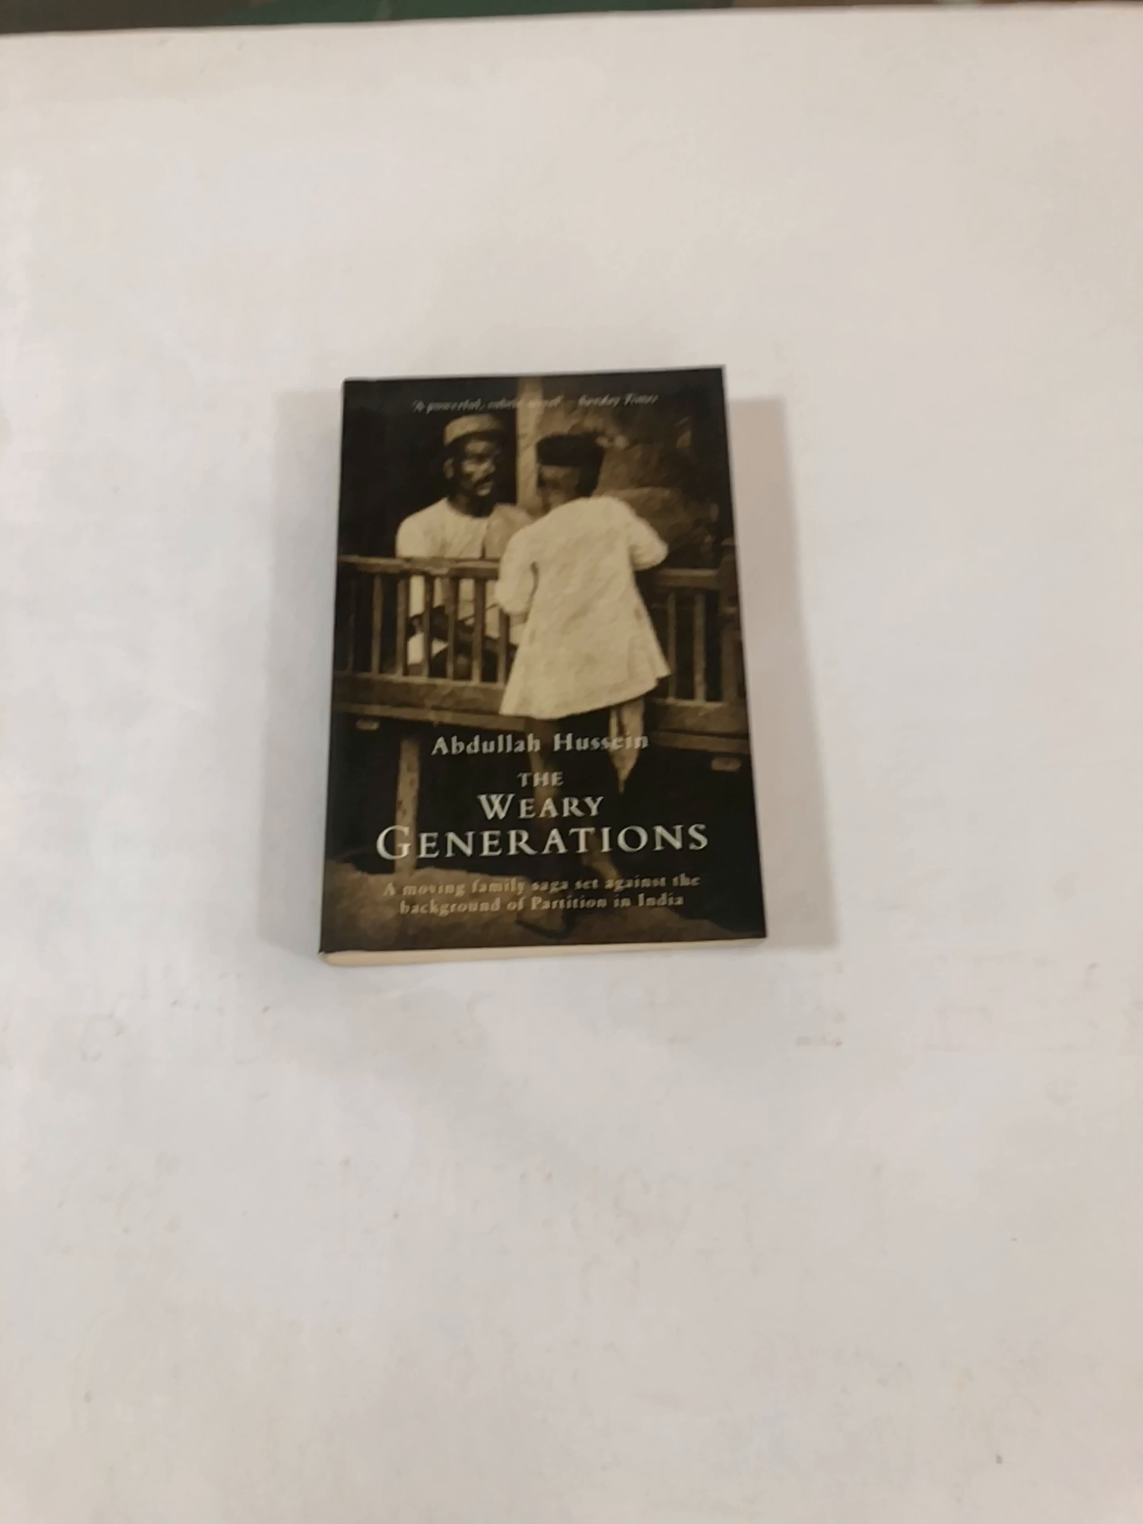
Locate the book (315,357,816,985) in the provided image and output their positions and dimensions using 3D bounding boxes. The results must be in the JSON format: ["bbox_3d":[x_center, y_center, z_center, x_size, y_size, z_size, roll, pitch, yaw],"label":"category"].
[{"bbox_3d":[-0.005,-0.034,0.404,0.140,0.030,0.200,-2,69,0],"label":"book"}]
